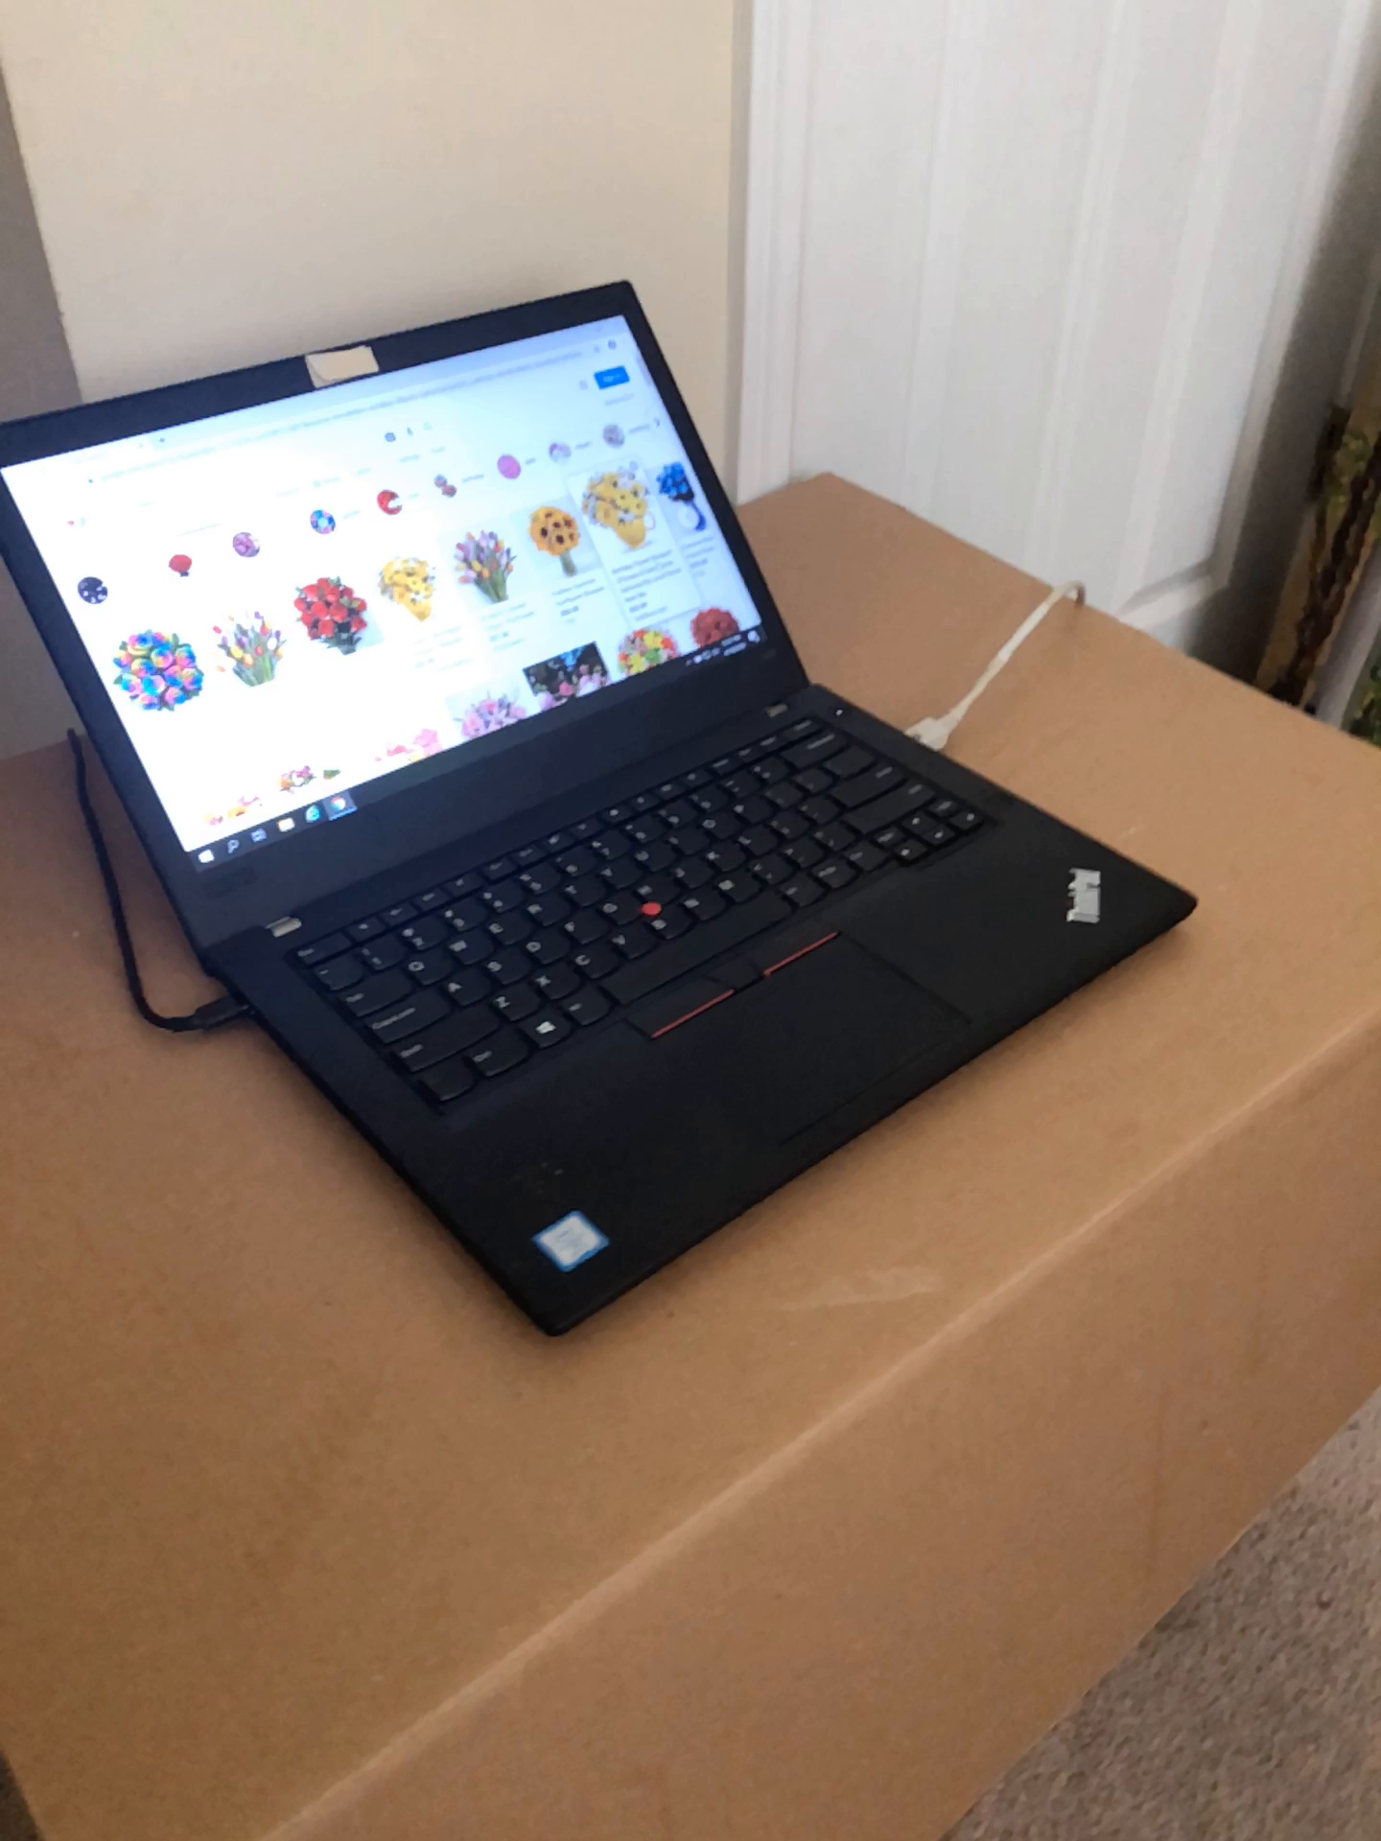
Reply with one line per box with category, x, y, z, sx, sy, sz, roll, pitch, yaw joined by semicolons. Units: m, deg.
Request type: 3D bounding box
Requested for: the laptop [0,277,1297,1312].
laptop;-0.036;-0.098;0.589;0.323;0.158;0.366;-27;46;-31
